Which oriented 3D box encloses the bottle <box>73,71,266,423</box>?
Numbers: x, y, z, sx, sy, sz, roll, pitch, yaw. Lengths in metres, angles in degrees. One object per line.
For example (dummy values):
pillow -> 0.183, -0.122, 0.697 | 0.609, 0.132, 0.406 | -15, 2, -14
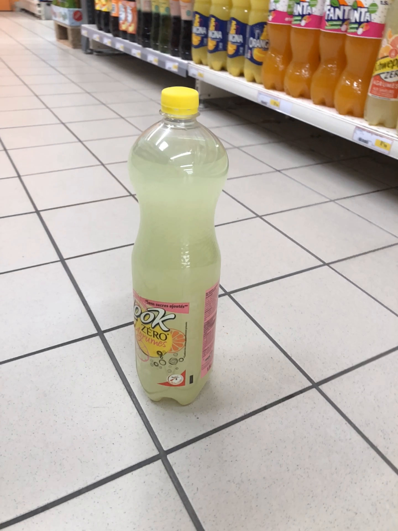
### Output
bottle -> -0.029, -0.012, 0.416 | 0.110, 0.298, 0.101 | 2, 31, -1
